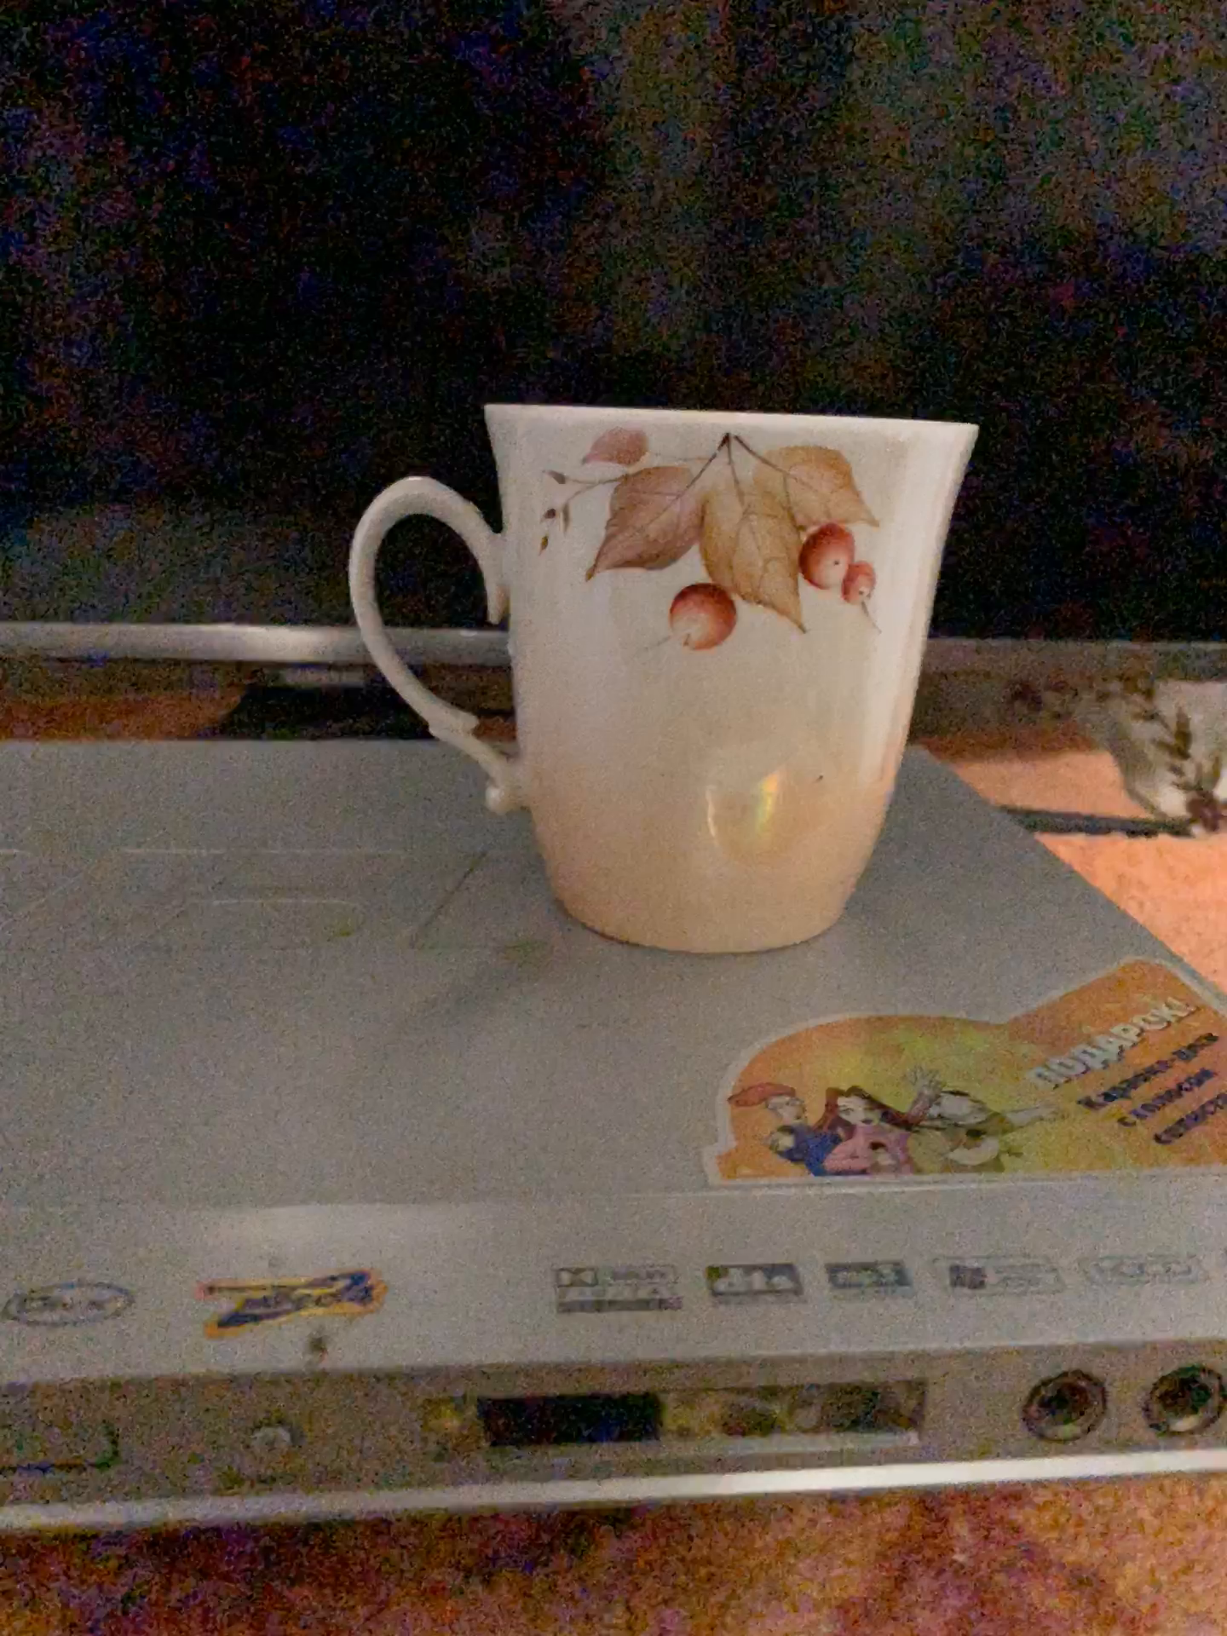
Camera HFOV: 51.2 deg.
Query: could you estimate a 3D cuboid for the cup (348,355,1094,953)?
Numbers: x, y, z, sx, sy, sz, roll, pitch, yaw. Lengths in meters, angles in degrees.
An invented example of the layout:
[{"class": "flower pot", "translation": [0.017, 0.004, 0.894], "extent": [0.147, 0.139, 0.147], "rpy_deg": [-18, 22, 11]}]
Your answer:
[{"class": "cup", "translation": [0.010, -0.036, 0.251], "extent": [0.113, 0.091, 0.101], "rpy_deg": [1, 17, -8]}]
